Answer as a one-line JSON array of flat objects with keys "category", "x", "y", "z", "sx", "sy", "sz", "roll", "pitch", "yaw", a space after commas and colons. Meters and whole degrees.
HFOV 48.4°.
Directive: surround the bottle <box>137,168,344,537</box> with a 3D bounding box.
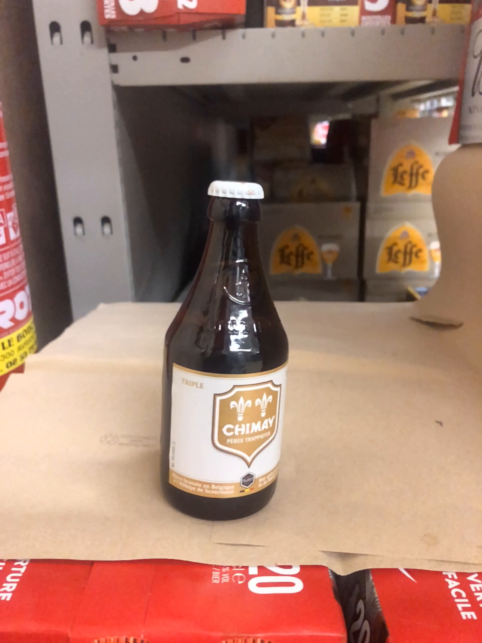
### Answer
[{"category": "bottle", "x": -0.007, "y": 0.010, "z": 0.279, "sx": 0.080, "sy": 0.169, "sz": 0.070, "roll": -4, "pitch": 18, "yaw": -19}]
